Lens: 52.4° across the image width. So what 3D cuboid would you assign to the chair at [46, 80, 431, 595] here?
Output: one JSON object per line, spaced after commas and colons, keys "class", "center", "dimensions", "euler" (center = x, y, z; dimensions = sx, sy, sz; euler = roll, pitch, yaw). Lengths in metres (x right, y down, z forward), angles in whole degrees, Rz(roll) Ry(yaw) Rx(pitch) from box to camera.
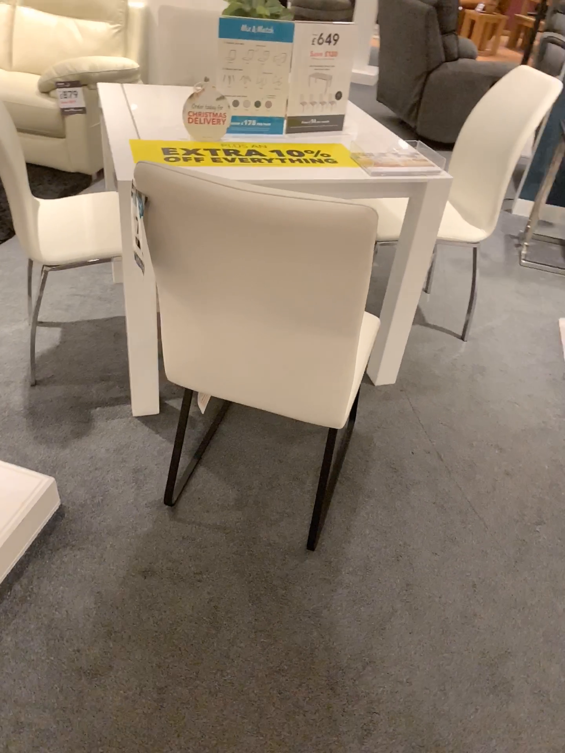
{"class": "chair", "center": [-0.057, -0.095, 1.328], "dimensions": [0.540, 0.891, 0.636], "euler": [14, 38, 8]}
